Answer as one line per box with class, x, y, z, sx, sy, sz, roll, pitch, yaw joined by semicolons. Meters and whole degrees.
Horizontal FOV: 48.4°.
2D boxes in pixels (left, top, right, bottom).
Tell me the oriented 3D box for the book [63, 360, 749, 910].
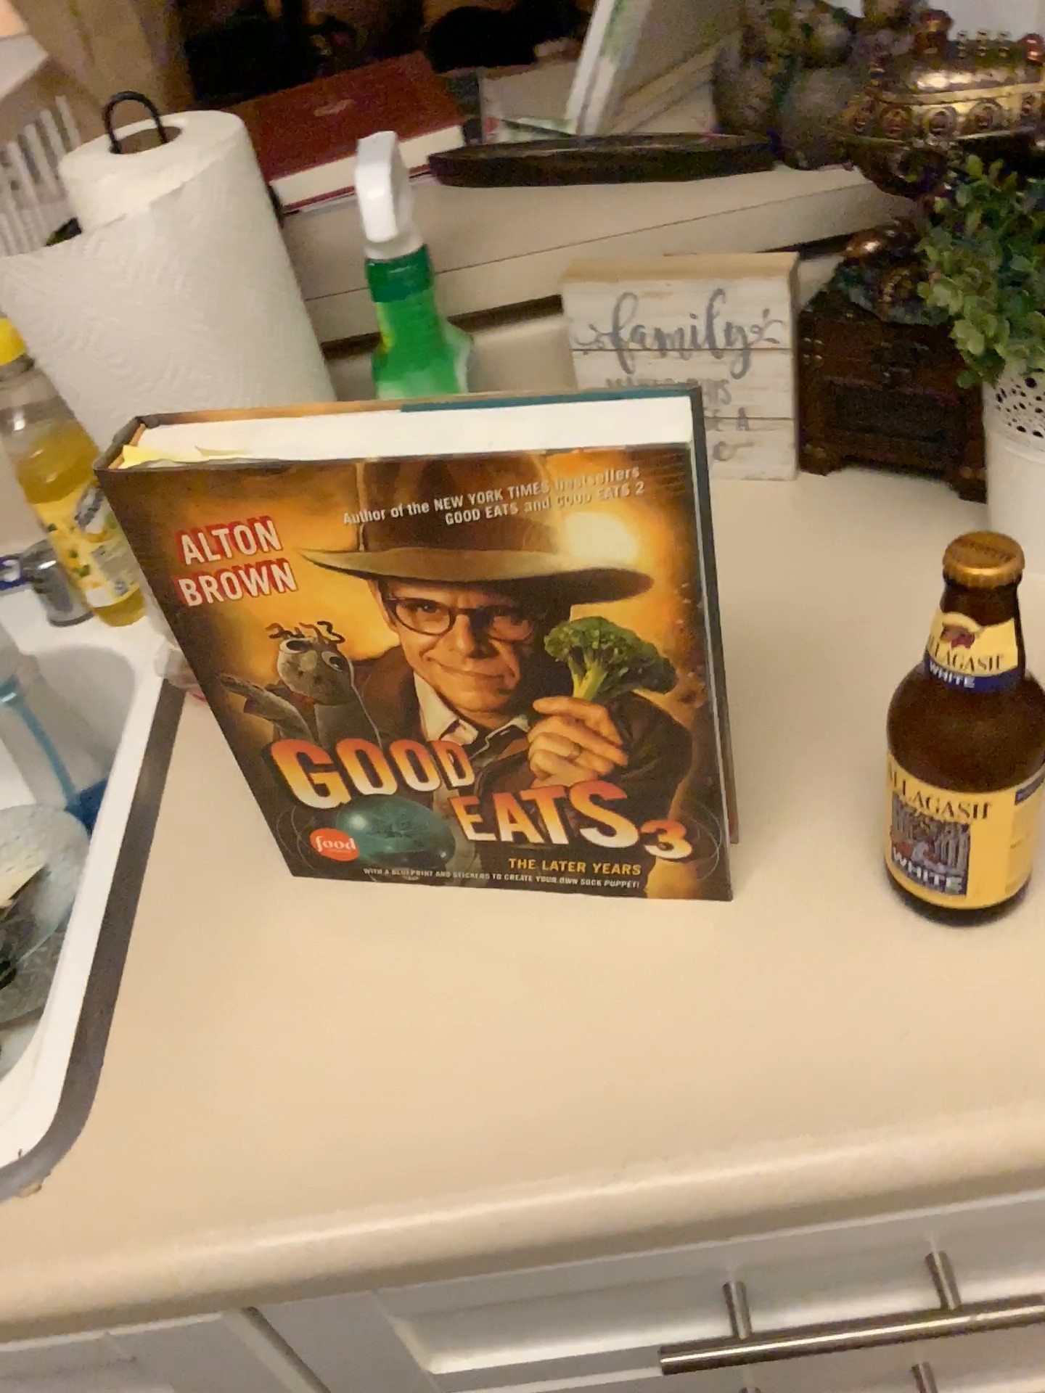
book;-0.031;-0.010;0.508;0.240;0.250;0.050;0;42;15
